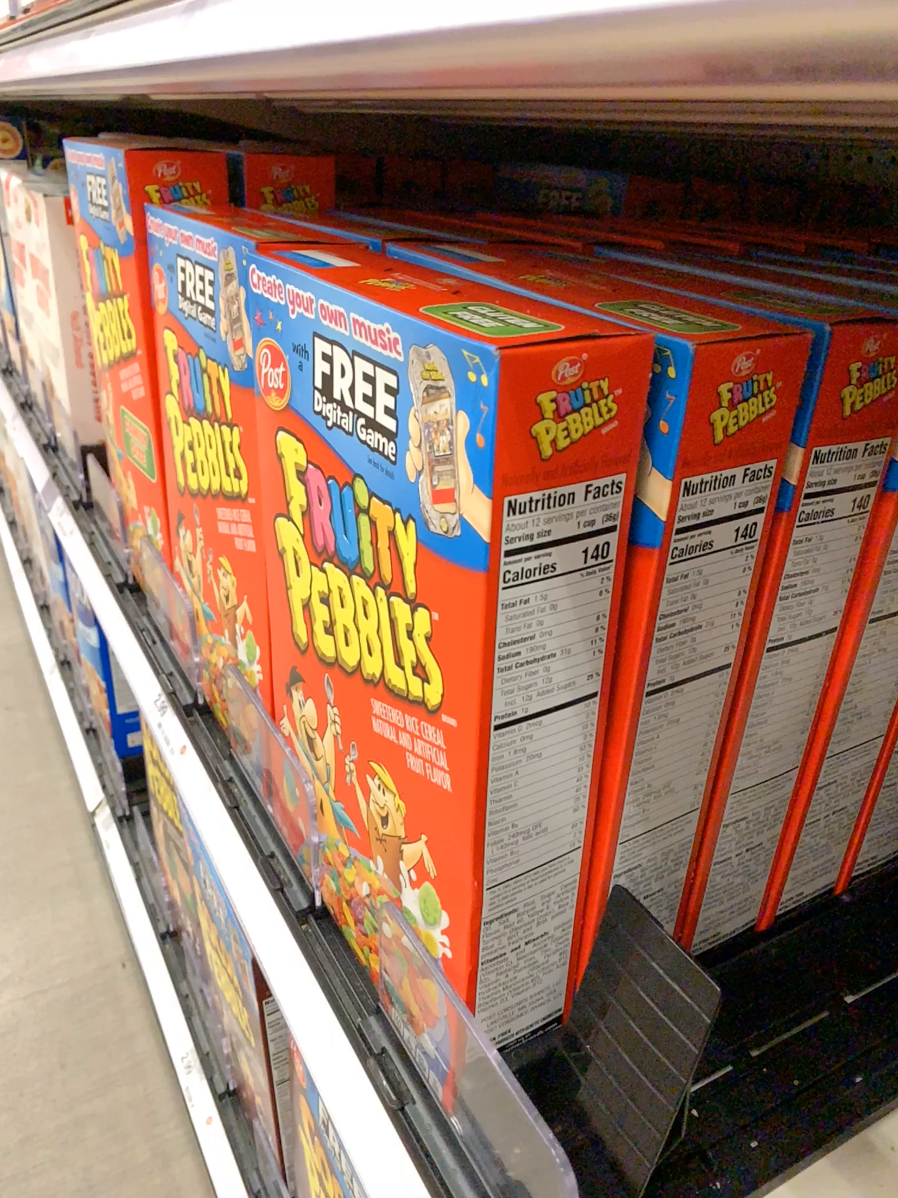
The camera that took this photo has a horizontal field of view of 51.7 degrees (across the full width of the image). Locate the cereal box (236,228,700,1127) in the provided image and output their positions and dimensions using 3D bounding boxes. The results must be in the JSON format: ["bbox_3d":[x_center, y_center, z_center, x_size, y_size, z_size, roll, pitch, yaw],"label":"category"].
[{"bbox_3d":[-0.015,0.018,0.368,0.060,0.289,0.201,-12,30,-27],"label":"cereal box"}]
